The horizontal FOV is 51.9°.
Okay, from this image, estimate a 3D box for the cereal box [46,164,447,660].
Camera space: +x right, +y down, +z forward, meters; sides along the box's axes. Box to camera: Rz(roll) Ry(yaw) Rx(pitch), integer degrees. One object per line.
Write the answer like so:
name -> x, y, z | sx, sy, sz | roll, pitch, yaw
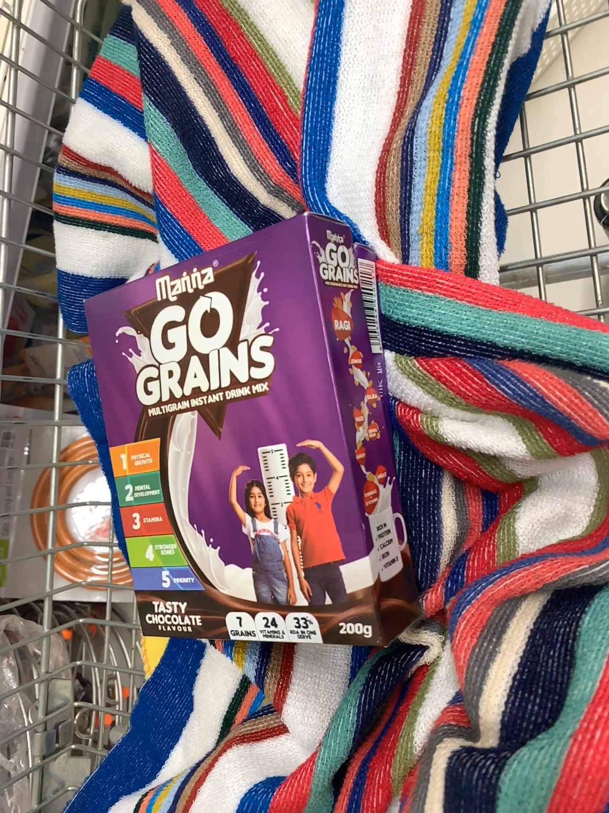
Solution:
cereal box -> -0.029, 0.010, 0.269 | 0.141, 0.050, 0.170 | -10, 91, 31
